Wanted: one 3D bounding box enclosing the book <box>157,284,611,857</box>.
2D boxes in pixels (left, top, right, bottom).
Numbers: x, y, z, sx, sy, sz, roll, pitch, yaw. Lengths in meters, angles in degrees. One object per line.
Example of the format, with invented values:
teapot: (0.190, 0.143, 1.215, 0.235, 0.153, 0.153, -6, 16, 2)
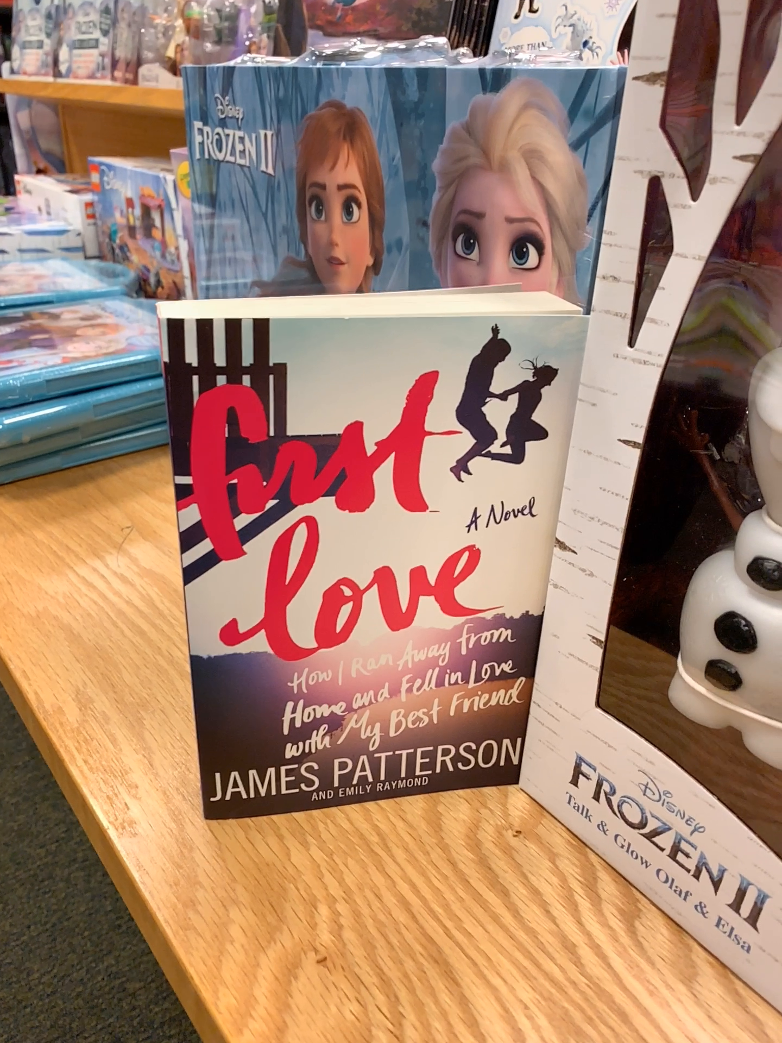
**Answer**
book: (-0.008, 0.019, 0.313, 0.142, 0.205, 0.059, -4, 25, -14)
